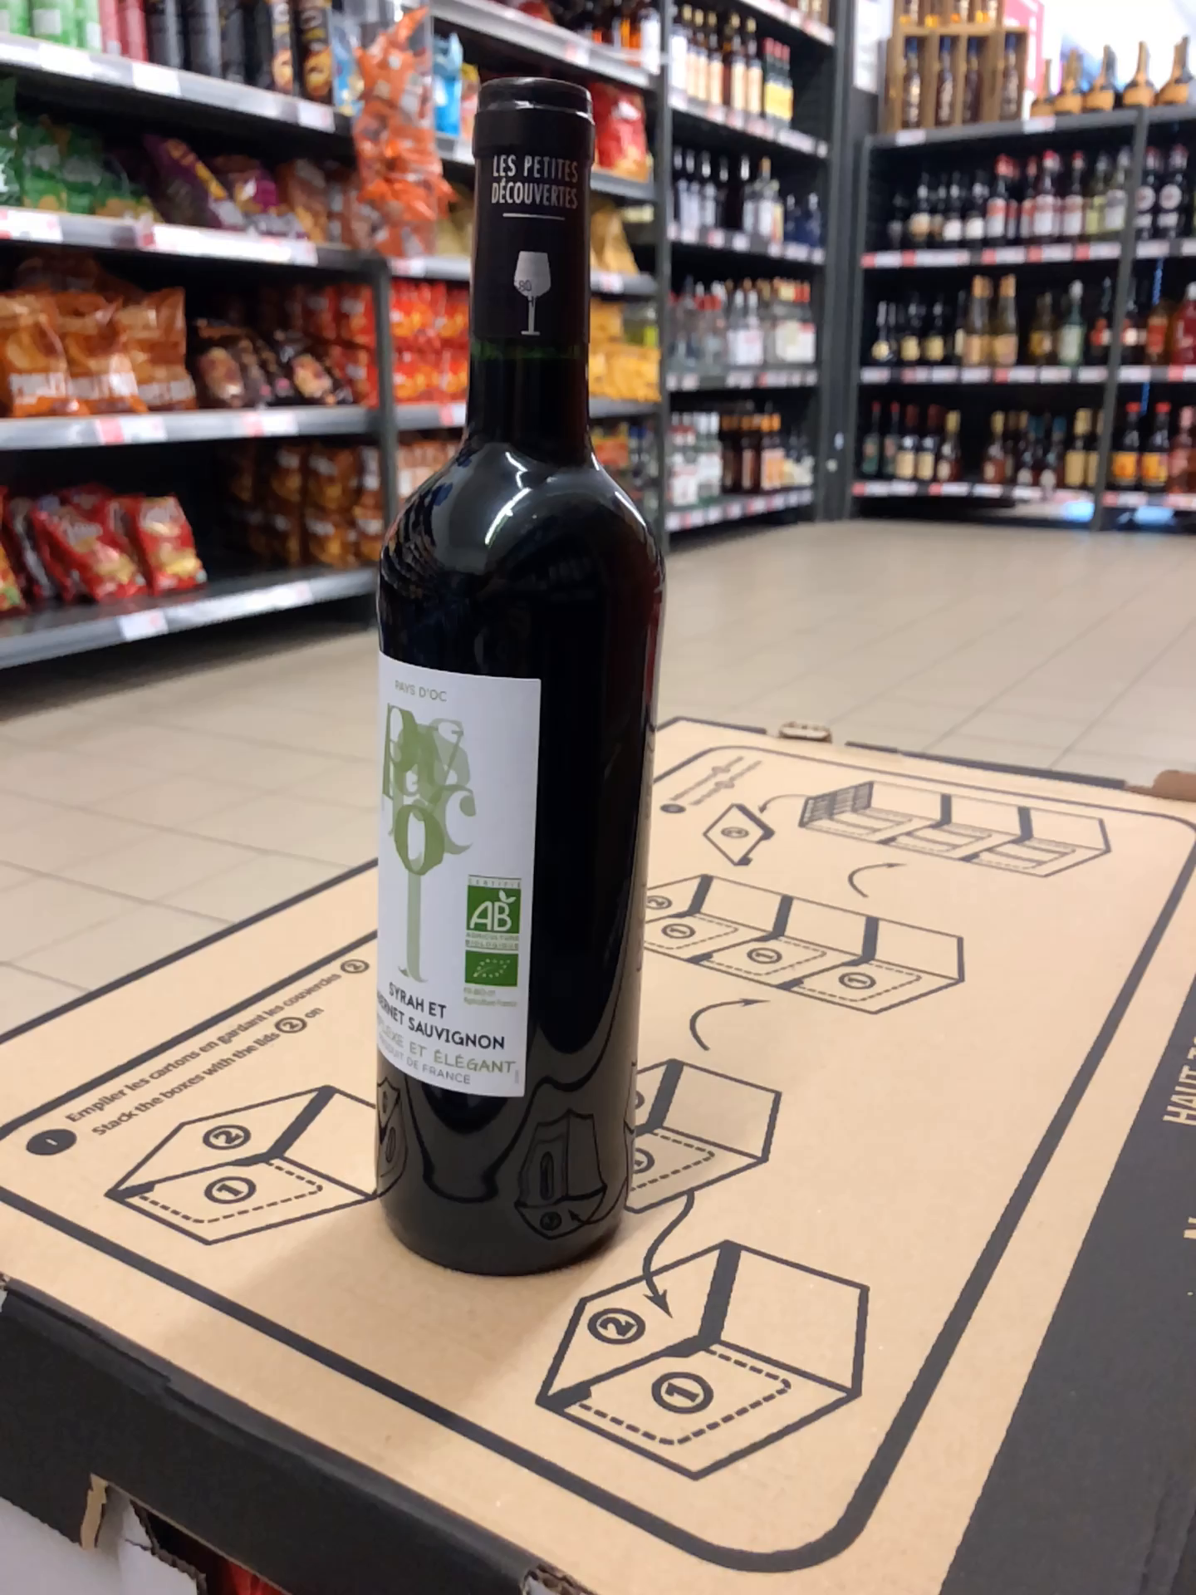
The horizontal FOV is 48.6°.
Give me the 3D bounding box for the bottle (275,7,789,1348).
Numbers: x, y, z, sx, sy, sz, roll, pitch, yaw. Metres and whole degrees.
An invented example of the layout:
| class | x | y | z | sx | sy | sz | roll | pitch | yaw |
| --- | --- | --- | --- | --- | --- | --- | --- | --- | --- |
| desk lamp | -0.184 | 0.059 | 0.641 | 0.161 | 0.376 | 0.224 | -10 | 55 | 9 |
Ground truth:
| class | x | y | z | sx | sy | sz | roll | pitch | yaw |
| --- | --- | --- | --- | --- | --- | --- | --- | --- | --- |
| bottle | -0.018 | -0.023 | 0.349 | 0.090 | 0.299 | 0.080 | 14 | 19 | 39 |
